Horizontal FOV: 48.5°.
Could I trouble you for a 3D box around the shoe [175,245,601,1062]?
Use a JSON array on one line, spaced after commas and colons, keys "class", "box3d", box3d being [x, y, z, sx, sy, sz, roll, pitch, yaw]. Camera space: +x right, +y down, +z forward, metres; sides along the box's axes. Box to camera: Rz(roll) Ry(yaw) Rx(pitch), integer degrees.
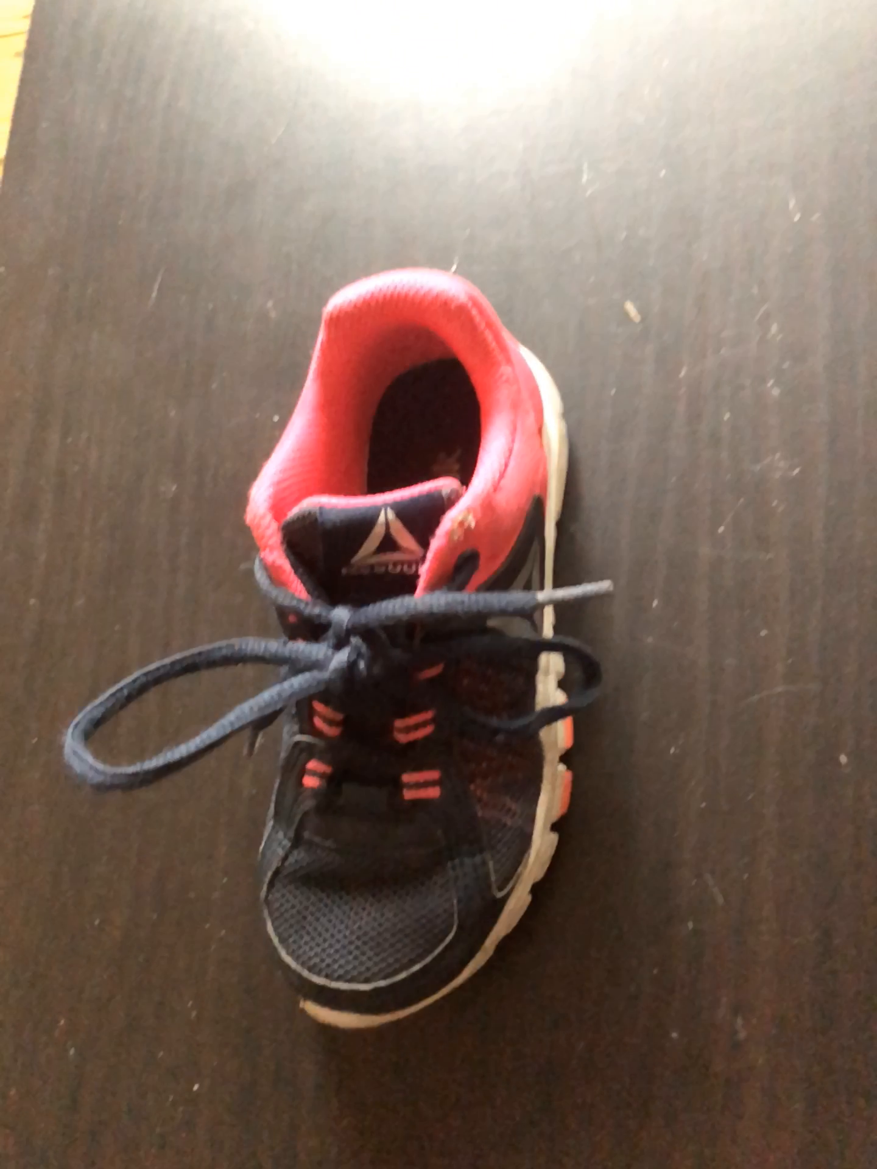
[{"class": "shoe", "box3d": [-0.005, 0.014, 0.271, 0.080, 0.070, 0.193, 2, 78, 16]}]
